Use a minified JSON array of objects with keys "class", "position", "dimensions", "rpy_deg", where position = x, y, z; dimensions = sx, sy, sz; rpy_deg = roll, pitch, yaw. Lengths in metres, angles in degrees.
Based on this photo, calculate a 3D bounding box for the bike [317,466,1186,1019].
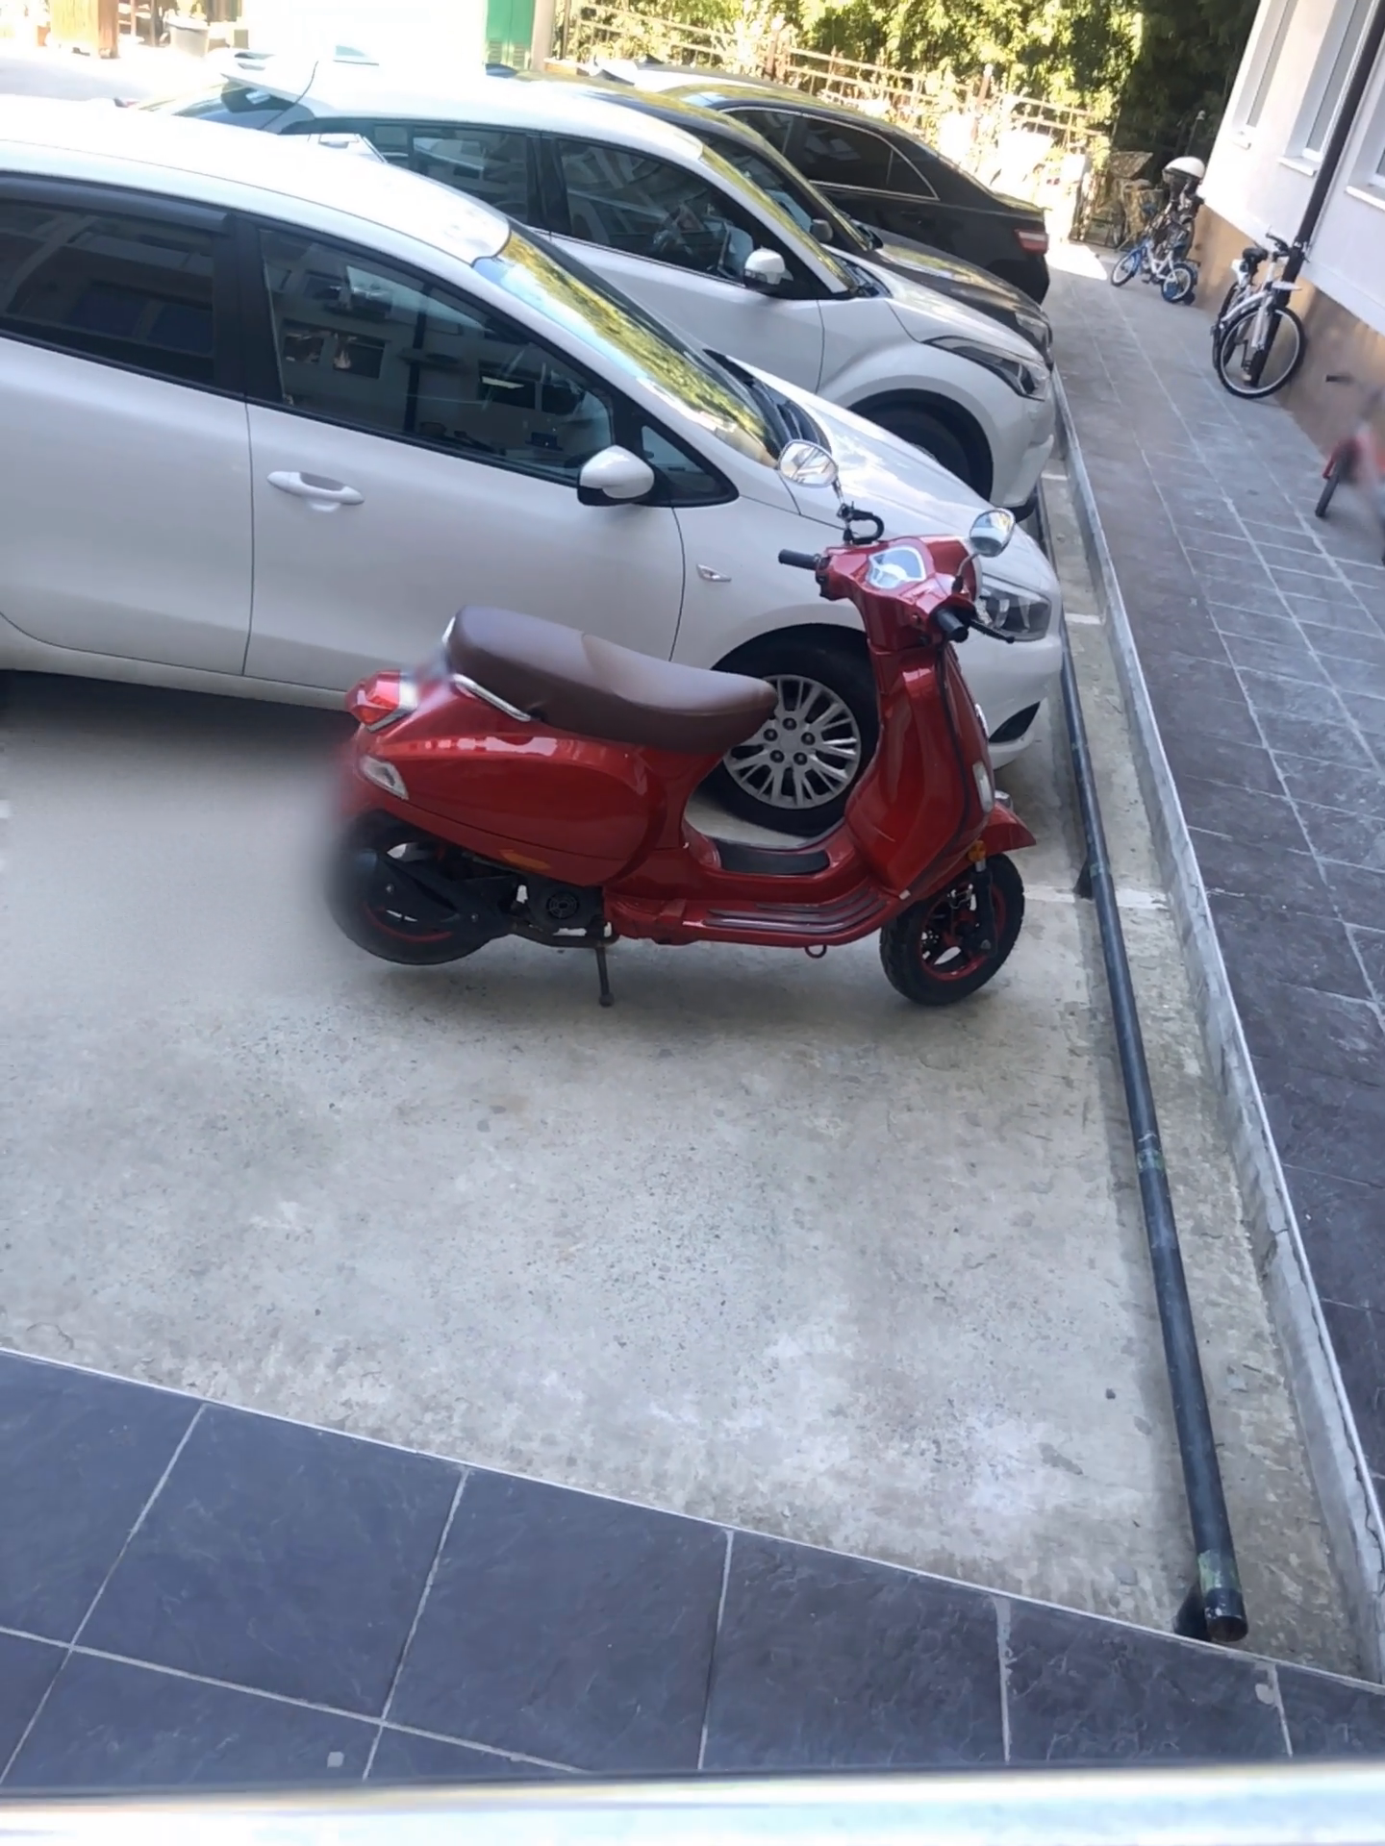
[{"class":"bike","position":[0.066,-0.344,3.217],"dimensions":[1.594,0.950,0.537],"rpy_deg":[2,32,-14]}]
